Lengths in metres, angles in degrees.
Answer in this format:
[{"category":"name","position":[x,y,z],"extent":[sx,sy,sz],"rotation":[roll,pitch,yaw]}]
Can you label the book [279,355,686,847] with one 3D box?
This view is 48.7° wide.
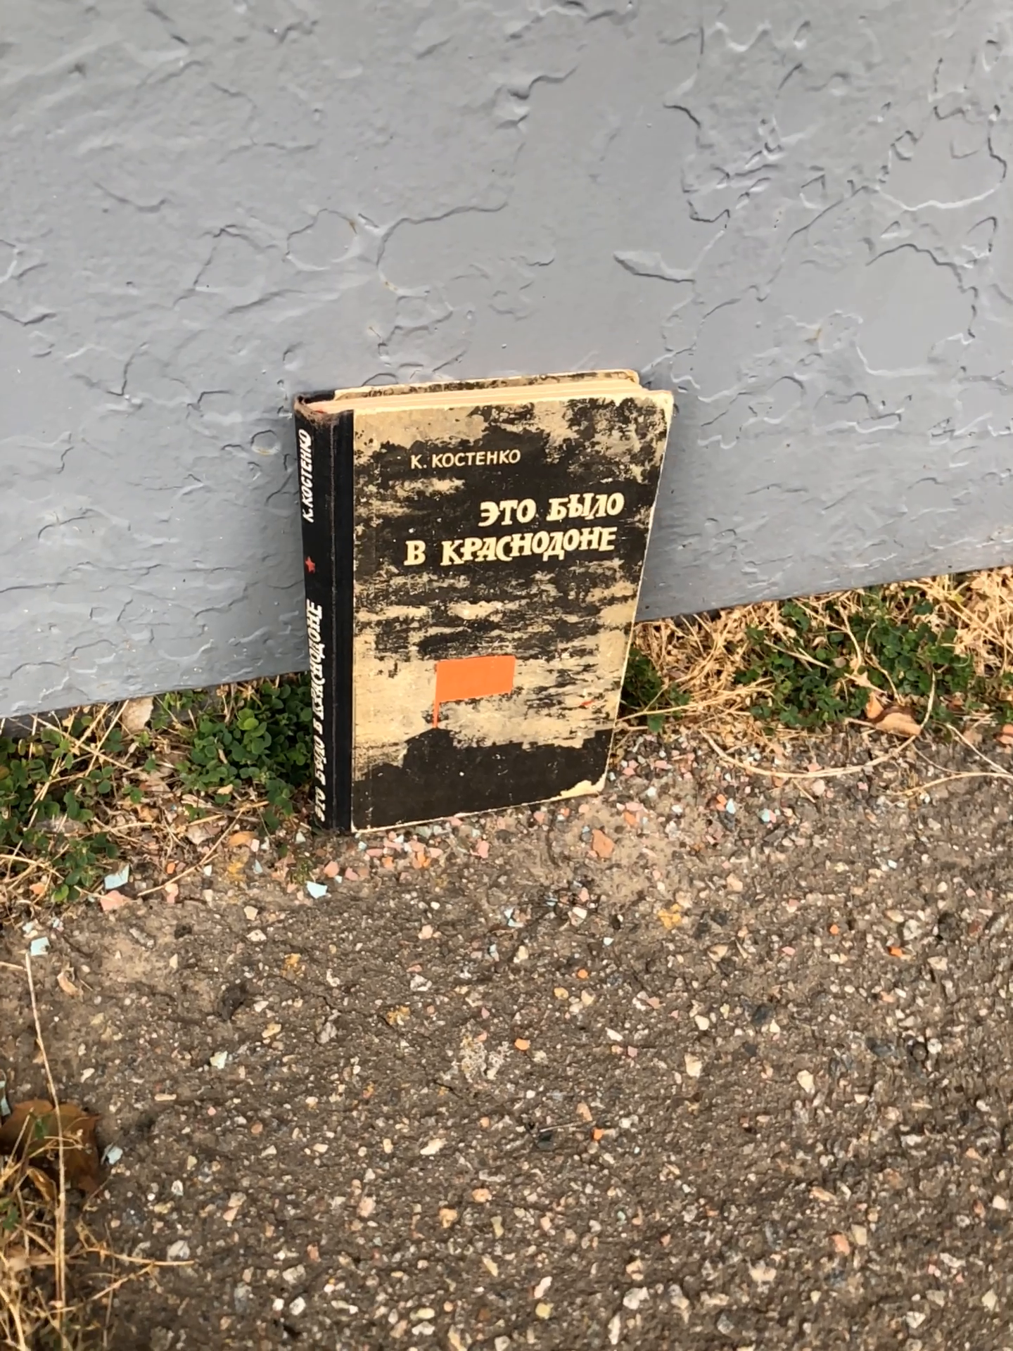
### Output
[{"category":"book","position":[-0.013,-0.024,0.453],"extent":[0.140,0.199,0.030],"rotation":[-8,38,-15]}]
